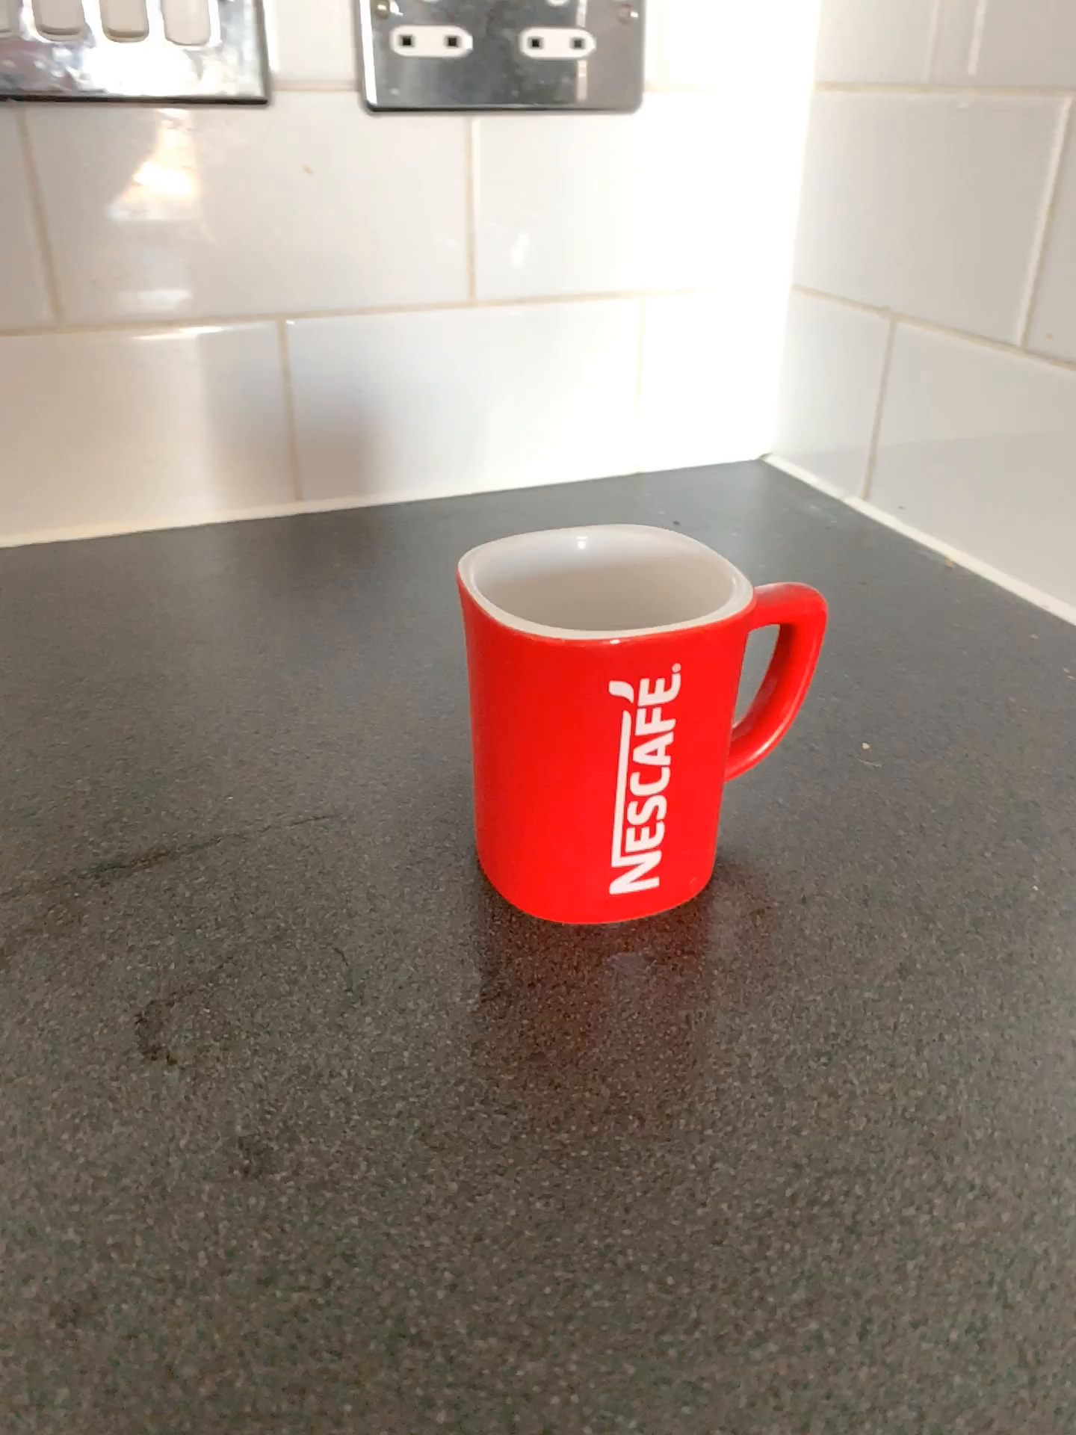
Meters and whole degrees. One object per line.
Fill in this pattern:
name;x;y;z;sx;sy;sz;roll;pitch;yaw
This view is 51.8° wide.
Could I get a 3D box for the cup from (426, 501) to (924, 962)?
cup;0.033;-0.001;0.311;0.112;0.091;0.067;-9;30;-17
